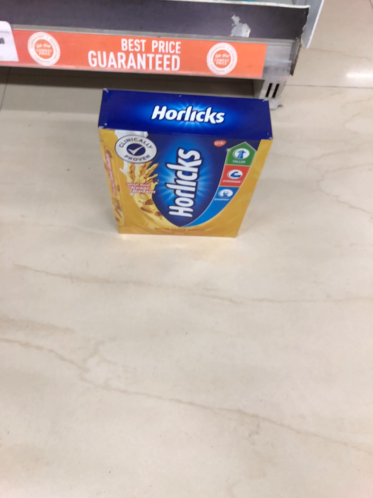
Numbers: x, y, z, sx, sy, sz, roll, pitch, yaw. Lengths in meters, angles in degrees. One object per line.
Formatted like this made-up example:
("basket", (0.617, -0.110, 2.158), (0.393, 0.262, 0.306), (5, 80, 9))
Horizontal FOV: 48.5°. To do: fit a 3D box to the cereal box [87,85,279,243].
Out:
("cereal box", (-0.007, -0.071, 0.414), (0.150, 0.179, 0.050), (1, 63, -3))
